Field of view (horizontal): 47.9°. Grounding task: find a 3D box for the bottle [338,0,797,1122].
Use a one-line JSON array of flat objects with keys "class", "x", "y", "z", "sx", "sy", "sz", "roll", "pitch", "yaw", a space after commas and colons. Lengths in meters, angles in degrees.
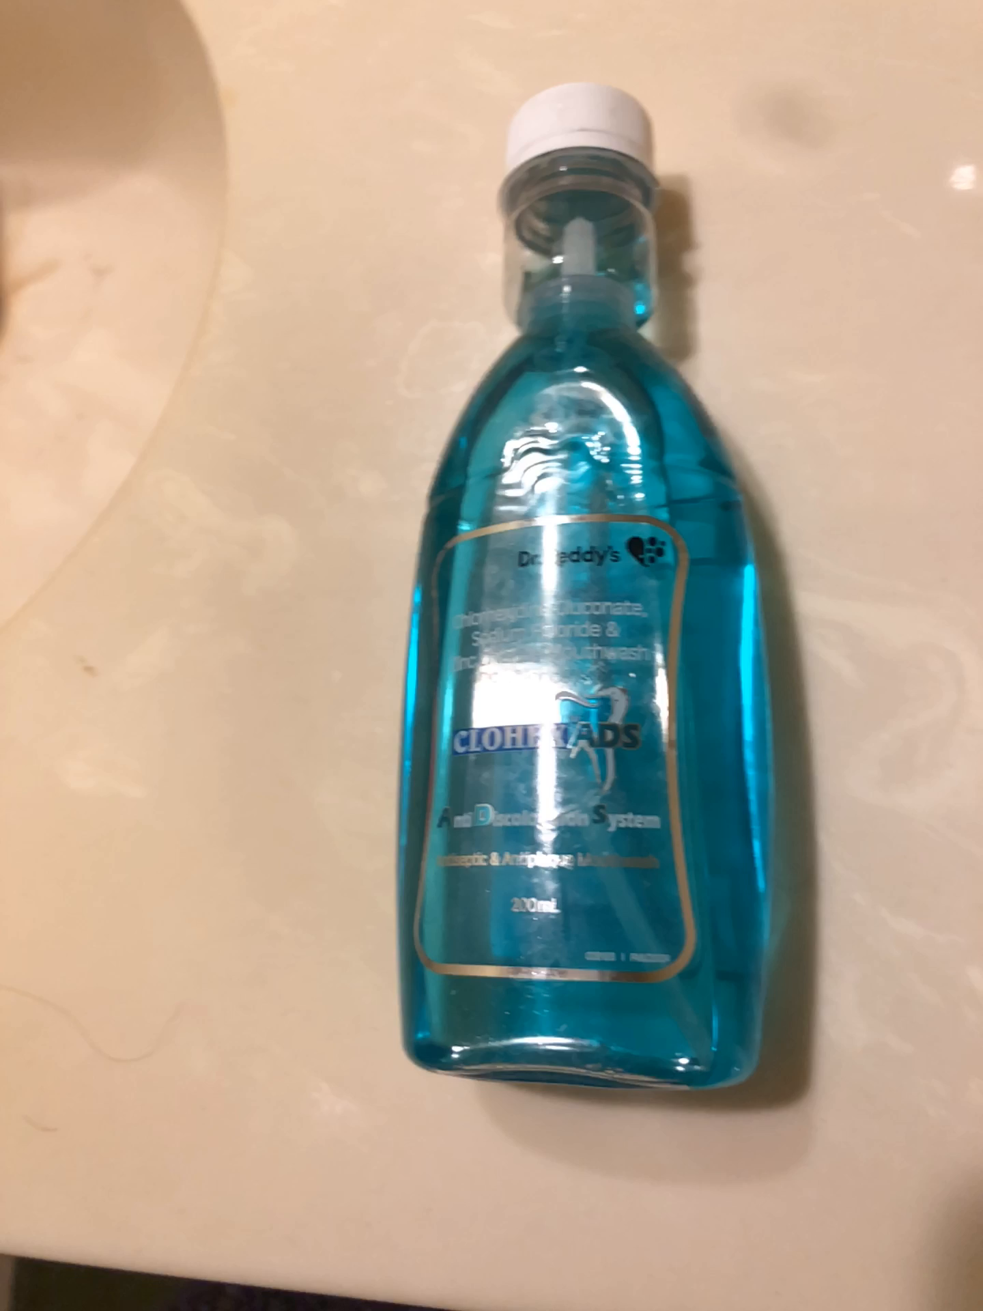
[{"class": "bottle", "x": 0.017, "y": -0.029, "z": 0.212, "sx": 0.070, "sy": 0.040, "sz": 0.210, "roll": -3, "pitch": 76, "yaw": 17}]
